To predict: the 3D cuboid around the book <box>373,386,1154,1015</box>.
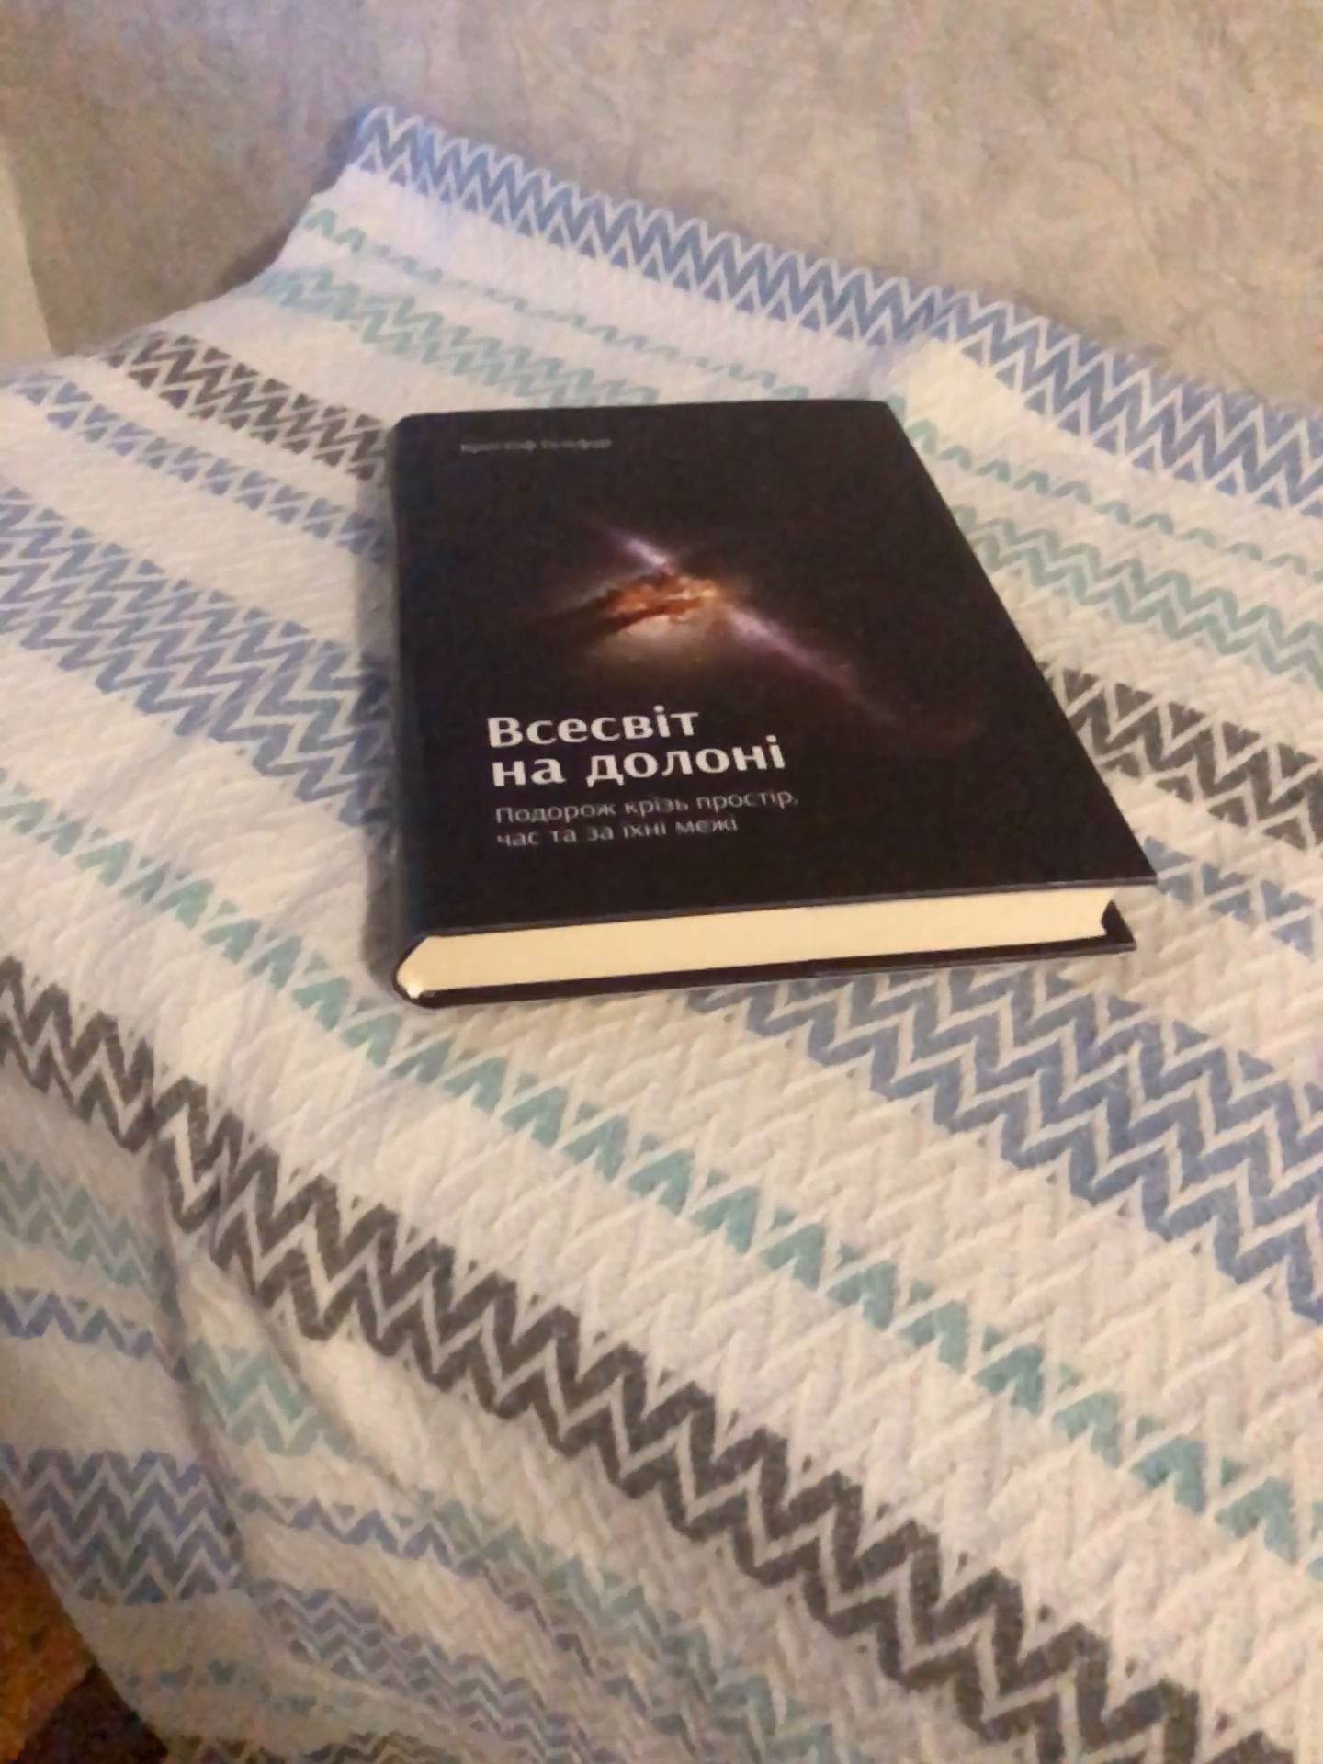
[{"bbox_3d":[0.007,-0.066,0.388,0.161,0.030,0.226,-4,44,-8],"label":"book"}]
